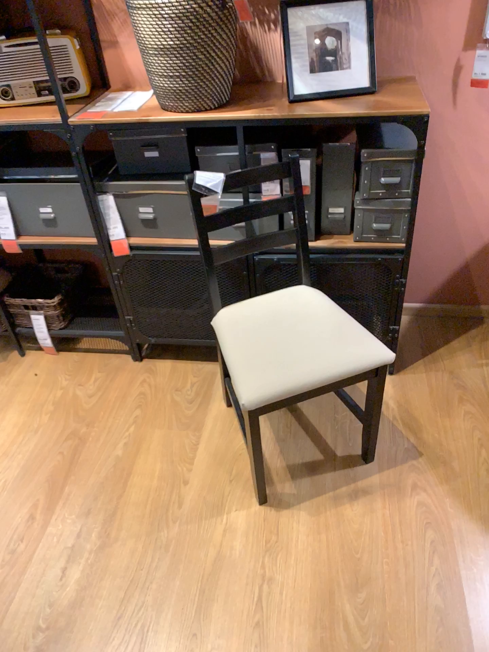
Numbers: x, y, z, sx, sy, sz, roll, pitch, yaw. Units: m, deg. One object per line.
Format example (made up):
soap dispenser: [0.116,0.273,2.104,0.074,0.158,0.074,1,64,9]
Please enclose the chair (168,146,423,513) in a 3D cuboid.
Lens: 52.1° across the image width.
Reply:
chair: [0.112,0.015,1.385,0.410,0.796,0.502,-16,40,-12]
